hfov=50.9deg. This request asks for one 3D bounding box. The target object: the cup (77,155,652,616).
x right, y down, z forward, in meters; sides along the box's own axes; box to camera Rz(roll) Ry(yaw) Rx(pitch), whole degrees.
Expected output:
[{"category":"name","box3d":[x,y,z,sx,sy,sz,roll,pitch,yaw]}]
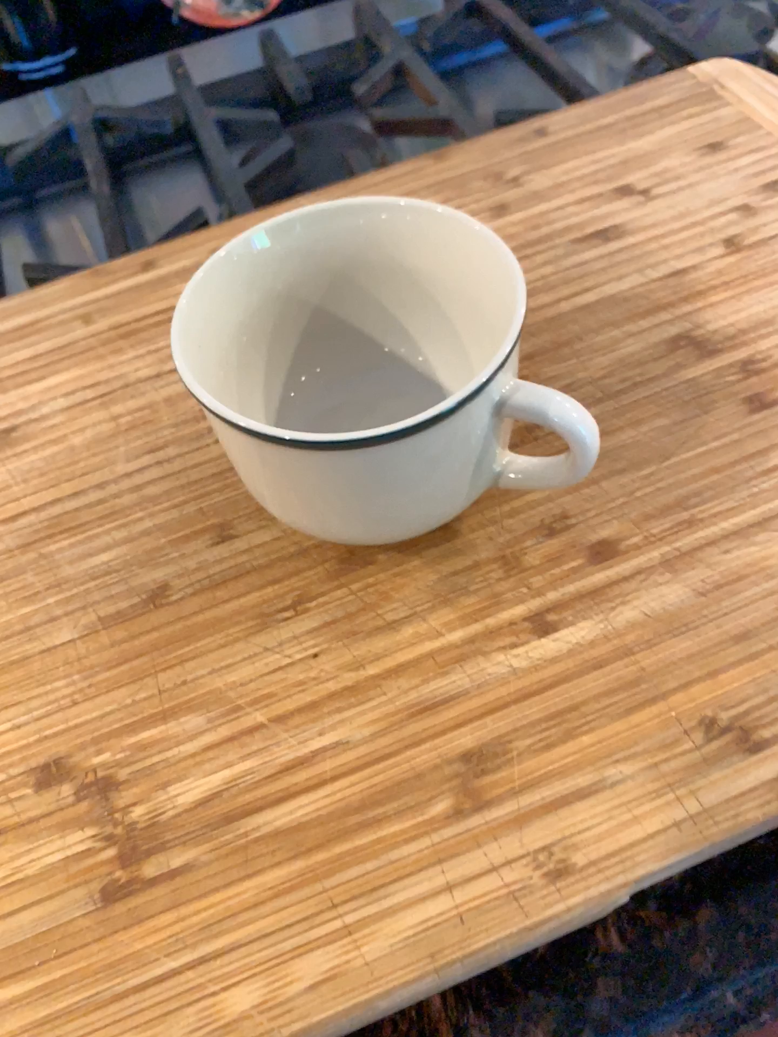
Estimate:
[{"category":"cup","box3d":[-0.002,-0.043,0.230,0.120,0.060,0.090,16,59,20]}]
